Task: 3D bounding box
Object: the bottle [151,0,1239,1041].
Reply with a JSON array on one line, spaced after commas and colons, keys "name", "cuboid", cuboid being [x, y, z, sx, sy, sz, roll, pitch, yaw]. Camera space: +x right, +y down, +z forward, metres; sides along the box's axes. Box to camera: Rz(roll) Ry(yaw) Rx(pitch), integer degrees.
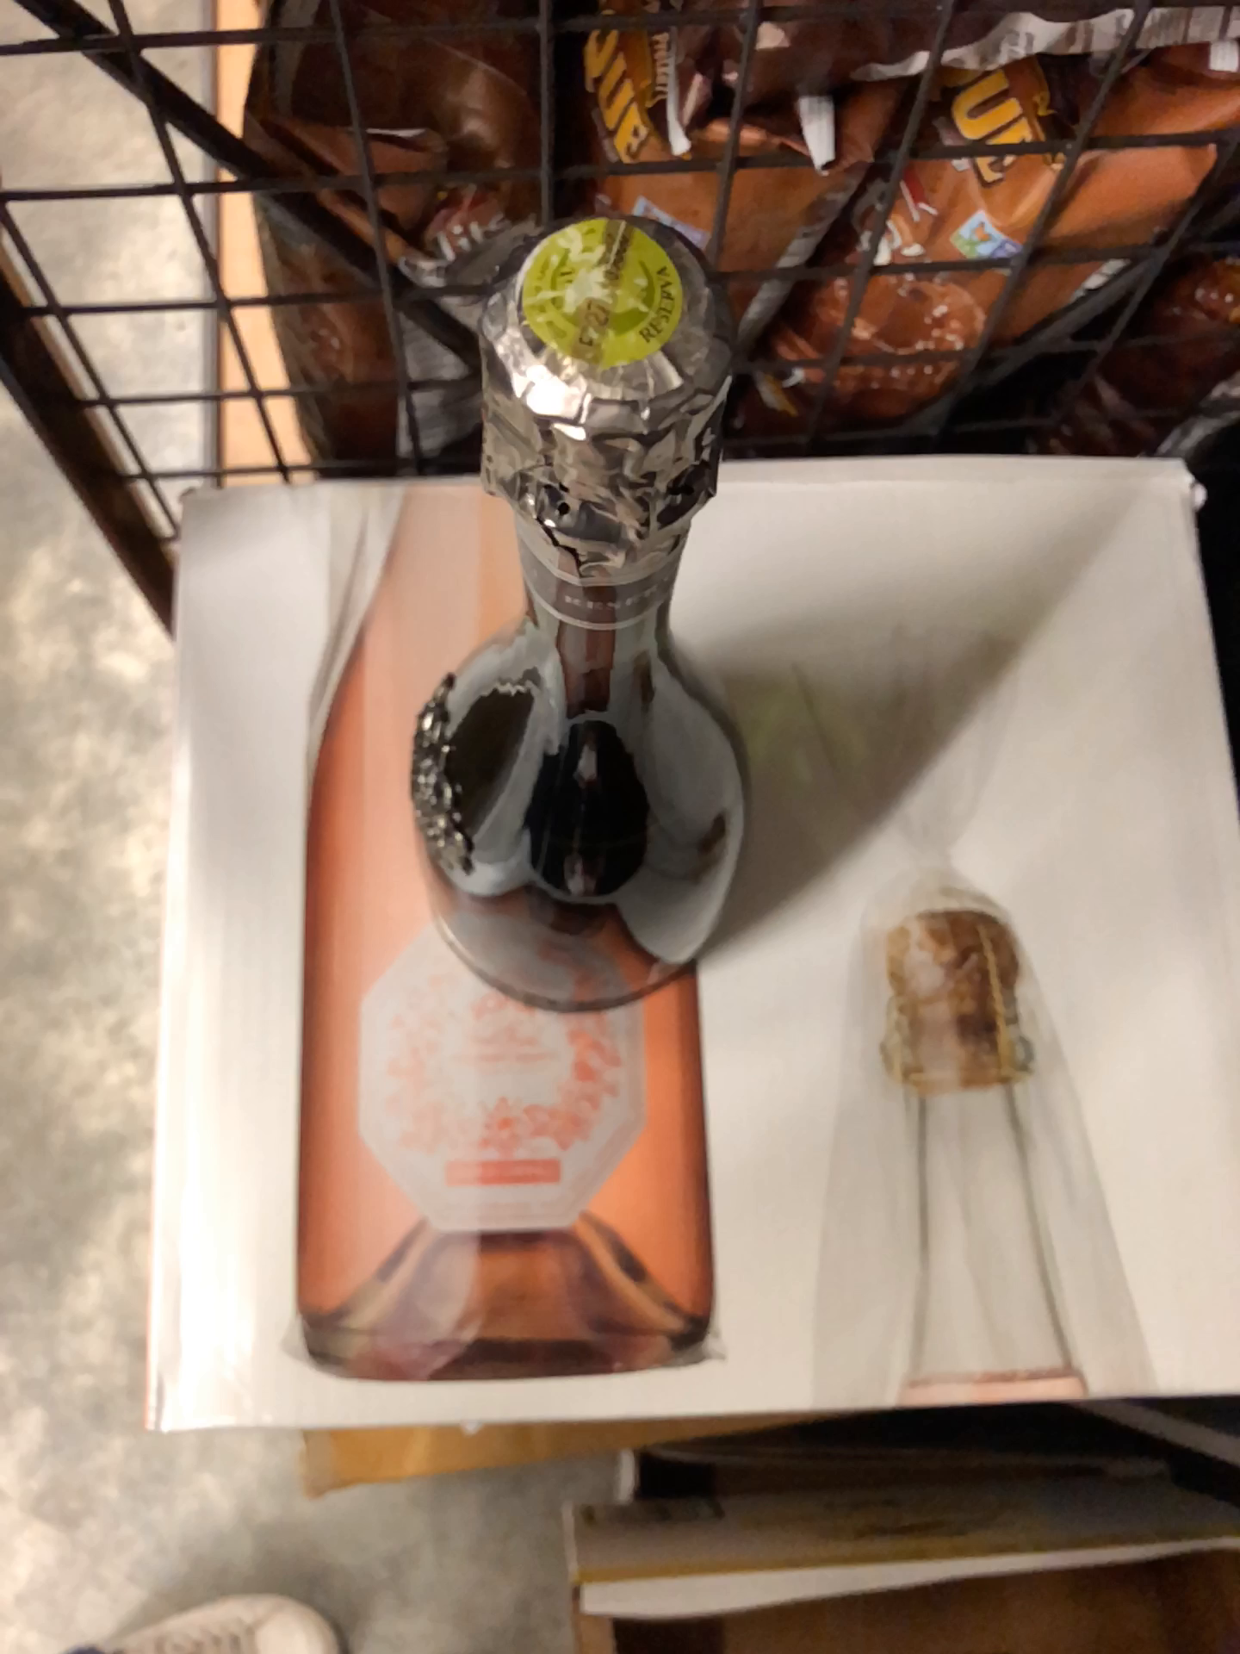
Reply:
[{"name": "bottle", "cuboid": [0.000, -0.042, 0.327, 0.110, 0.333, 0.122, -12, 75, -6]}]
